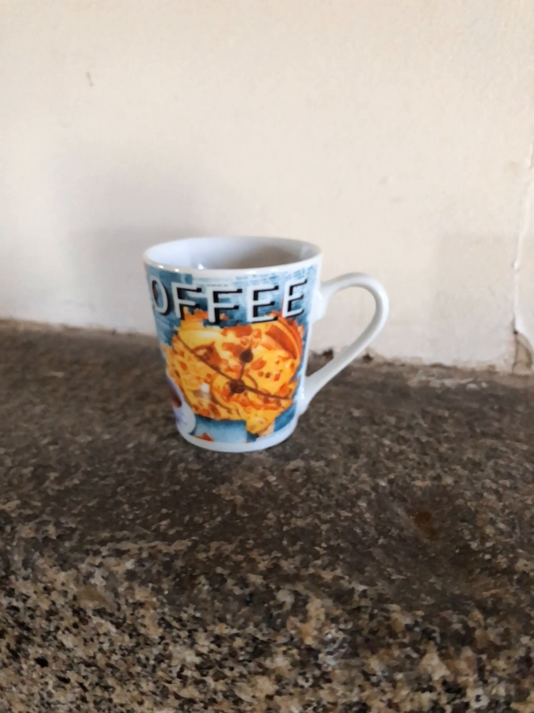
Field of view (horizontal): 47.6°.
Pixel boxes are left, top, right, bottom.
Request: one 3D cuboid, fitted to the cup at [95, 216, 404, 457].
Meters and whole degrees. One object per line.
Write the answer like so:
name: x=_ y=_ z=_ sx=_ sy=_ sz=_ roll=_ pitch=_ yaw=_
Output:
cup: x=-0.003 y=-0.010 z=0.194 sx=0.080 sy=0.060 sz=0.060 roll=-1 pitch=20 yaw=3
